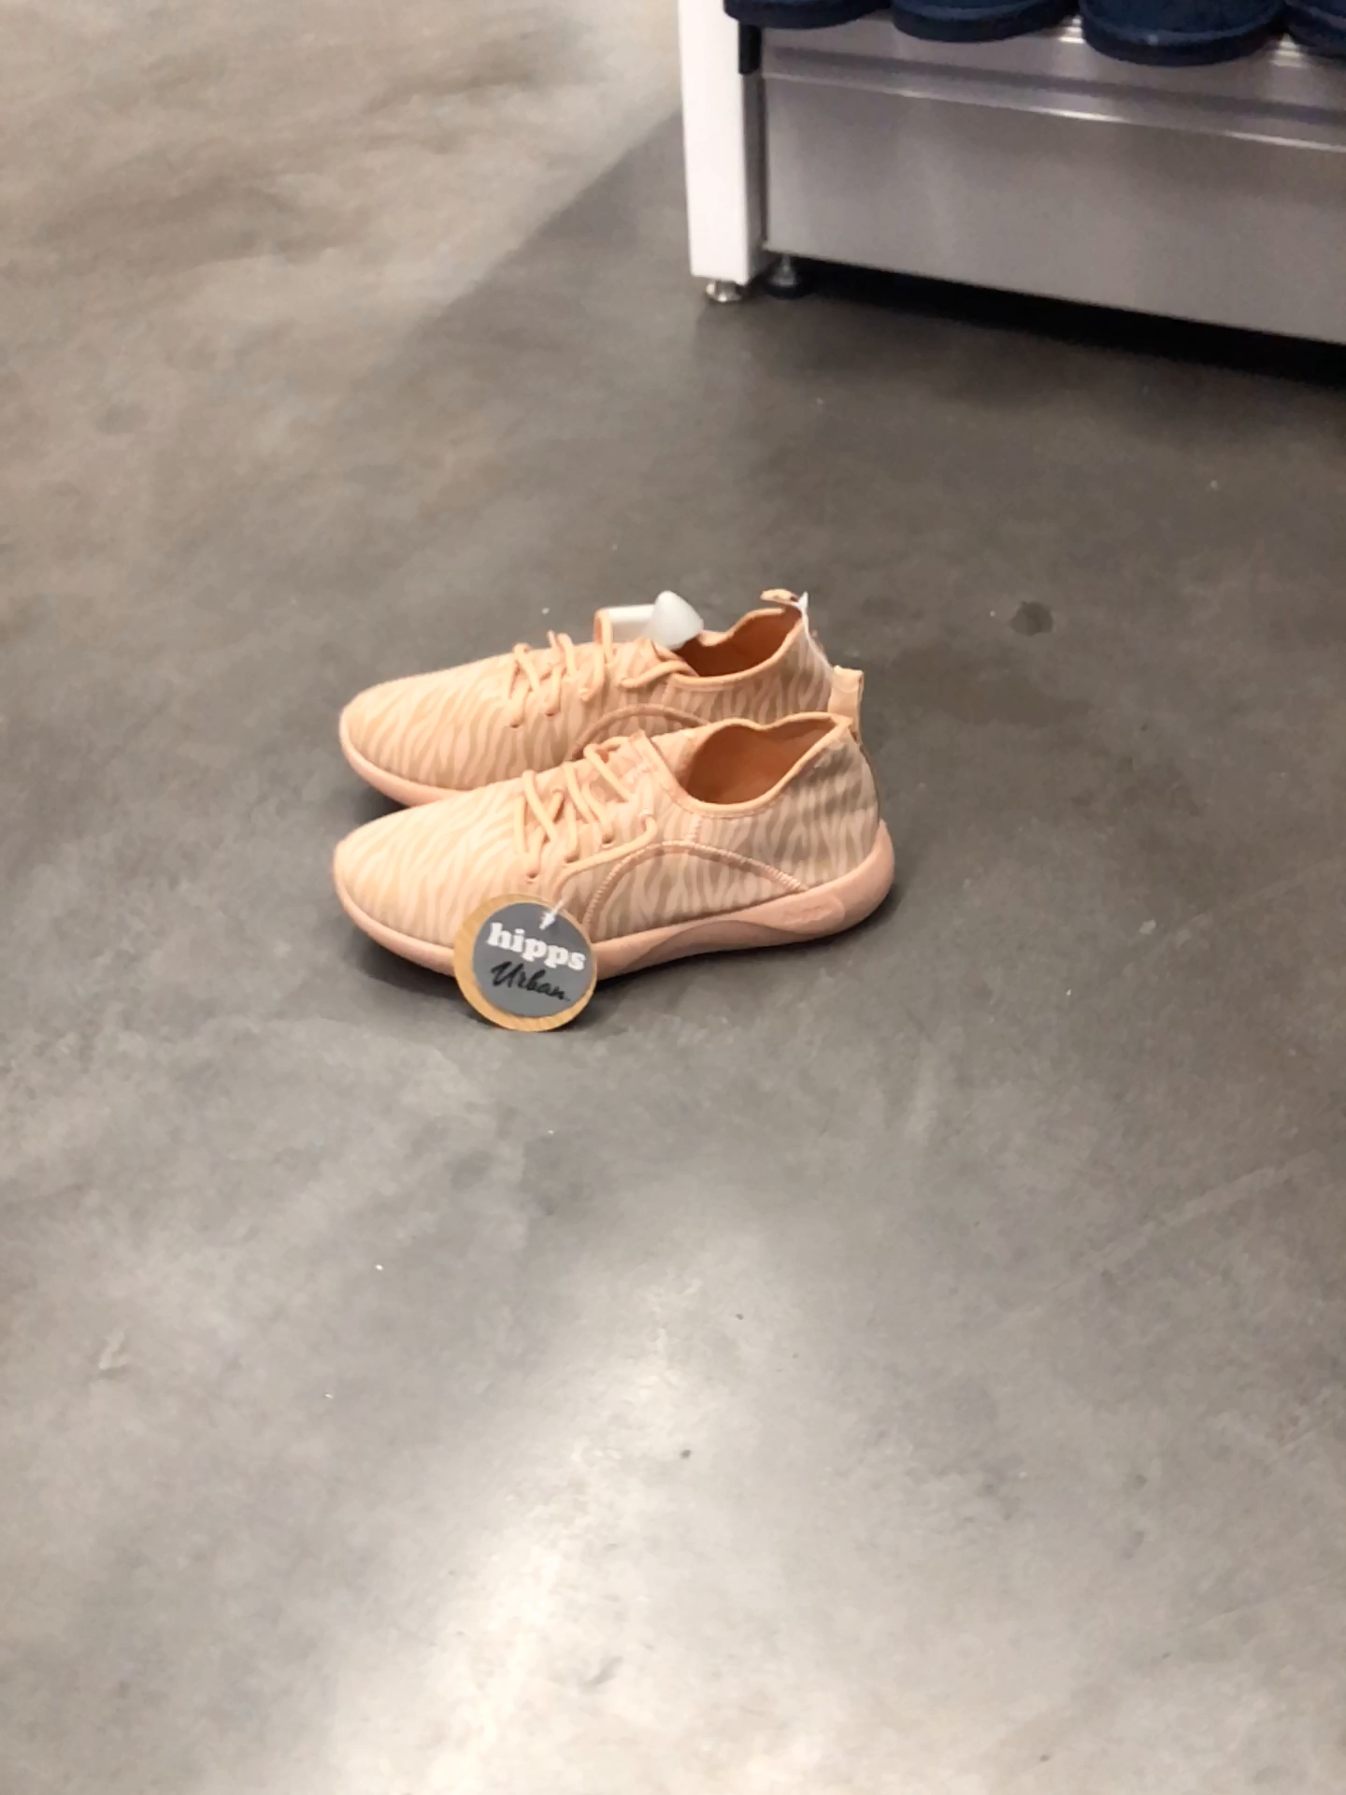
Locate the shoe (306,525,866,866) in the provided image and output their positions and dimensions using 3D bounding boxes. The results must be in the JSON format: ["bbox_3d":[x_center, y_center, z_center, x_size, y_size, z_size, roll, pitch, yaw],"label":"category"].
[{"bbox_3d":[-0.035,-0.092,0.679,0.230,0.099,0.101,-3,47,1],"label":"shoe"}]

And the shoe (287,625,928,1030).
[{"bbox_3d":[-0.024,-0.028,0.602,0.230,0.099,0.101,-6,47,-1],"label":"shoe"}]
